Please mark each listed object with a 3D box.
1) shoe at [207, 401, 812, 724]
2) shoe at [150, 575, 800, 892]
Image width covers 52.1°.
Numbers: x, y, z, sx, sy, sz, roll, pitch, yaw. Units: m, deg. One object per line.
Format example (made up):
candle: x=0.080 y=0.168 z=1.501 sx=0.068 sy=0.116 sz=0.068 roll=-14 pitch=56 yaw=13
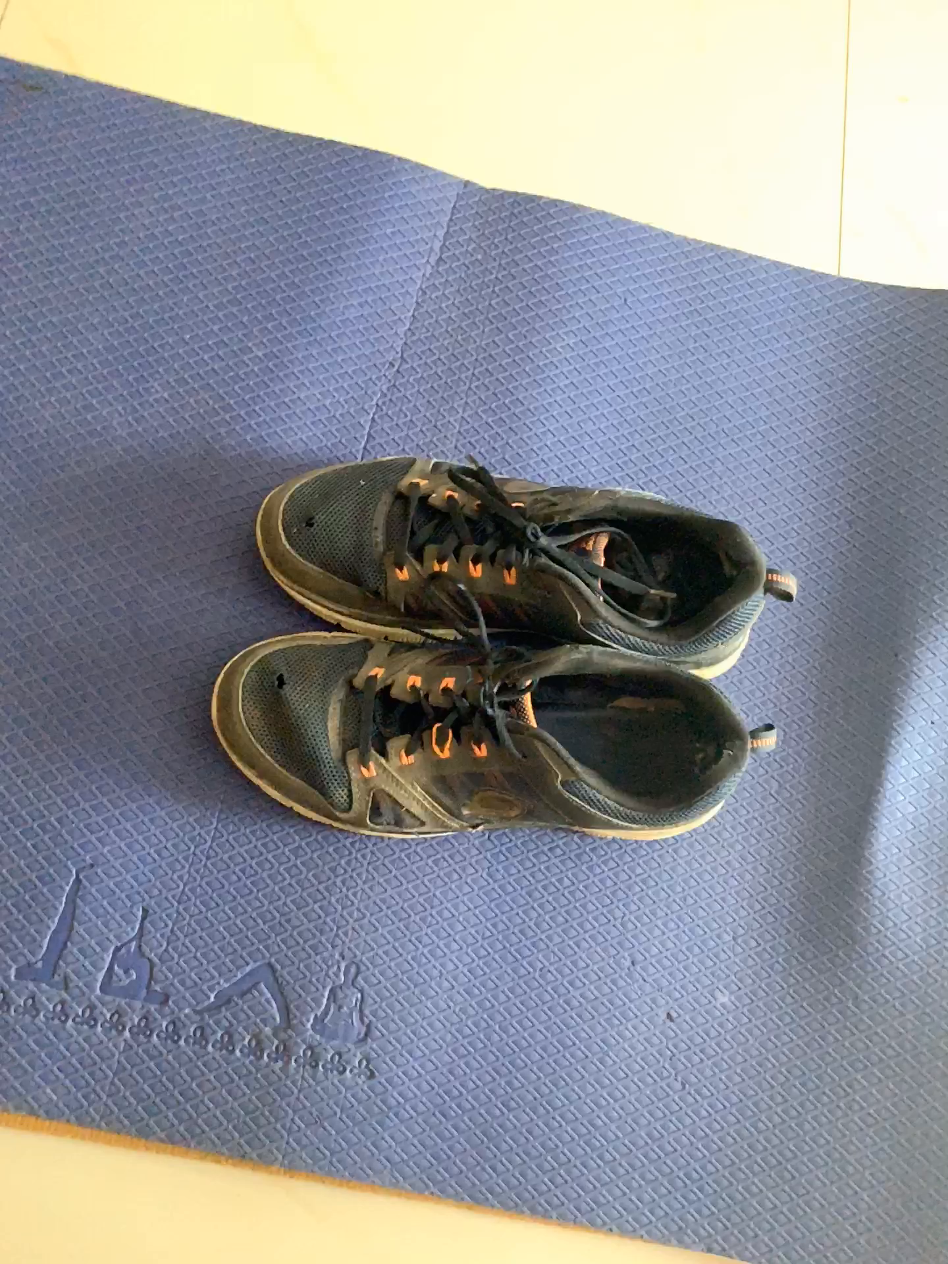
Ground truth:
shoe: x=0.021 y=-0.034 z=0.580 sx=0.320 sy=0.100 sz=0.100 roll=13 pitch=78 yaw=-3
shoe: x=0.004 y=0.061 z=0.524 sx=0.310 sy=0.100 sz=0.110 roll=9 pitch=72 yaw=-4
